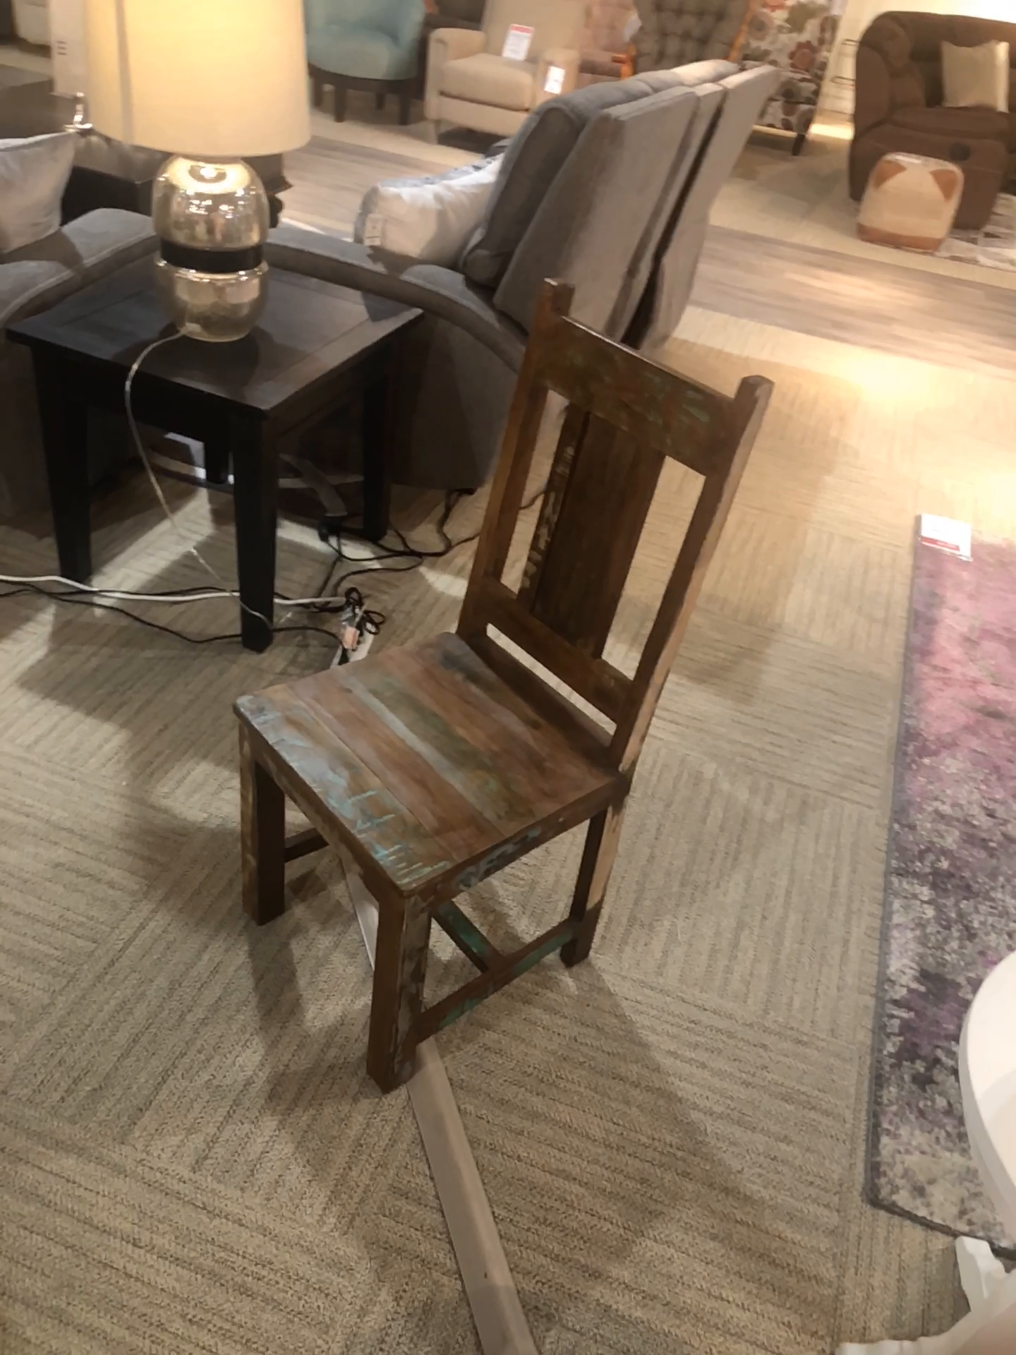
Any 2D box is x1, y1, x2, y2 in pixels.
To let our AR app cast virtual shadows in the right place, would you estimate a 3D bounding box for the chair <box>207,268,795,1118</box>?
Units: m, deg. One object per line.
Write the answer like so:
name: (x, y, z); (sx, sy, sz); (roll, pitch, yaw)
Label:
chair: (-0.070, 0.026, 1.602); (0.512, 1.024, 0.477); (-20, 44, -34)
